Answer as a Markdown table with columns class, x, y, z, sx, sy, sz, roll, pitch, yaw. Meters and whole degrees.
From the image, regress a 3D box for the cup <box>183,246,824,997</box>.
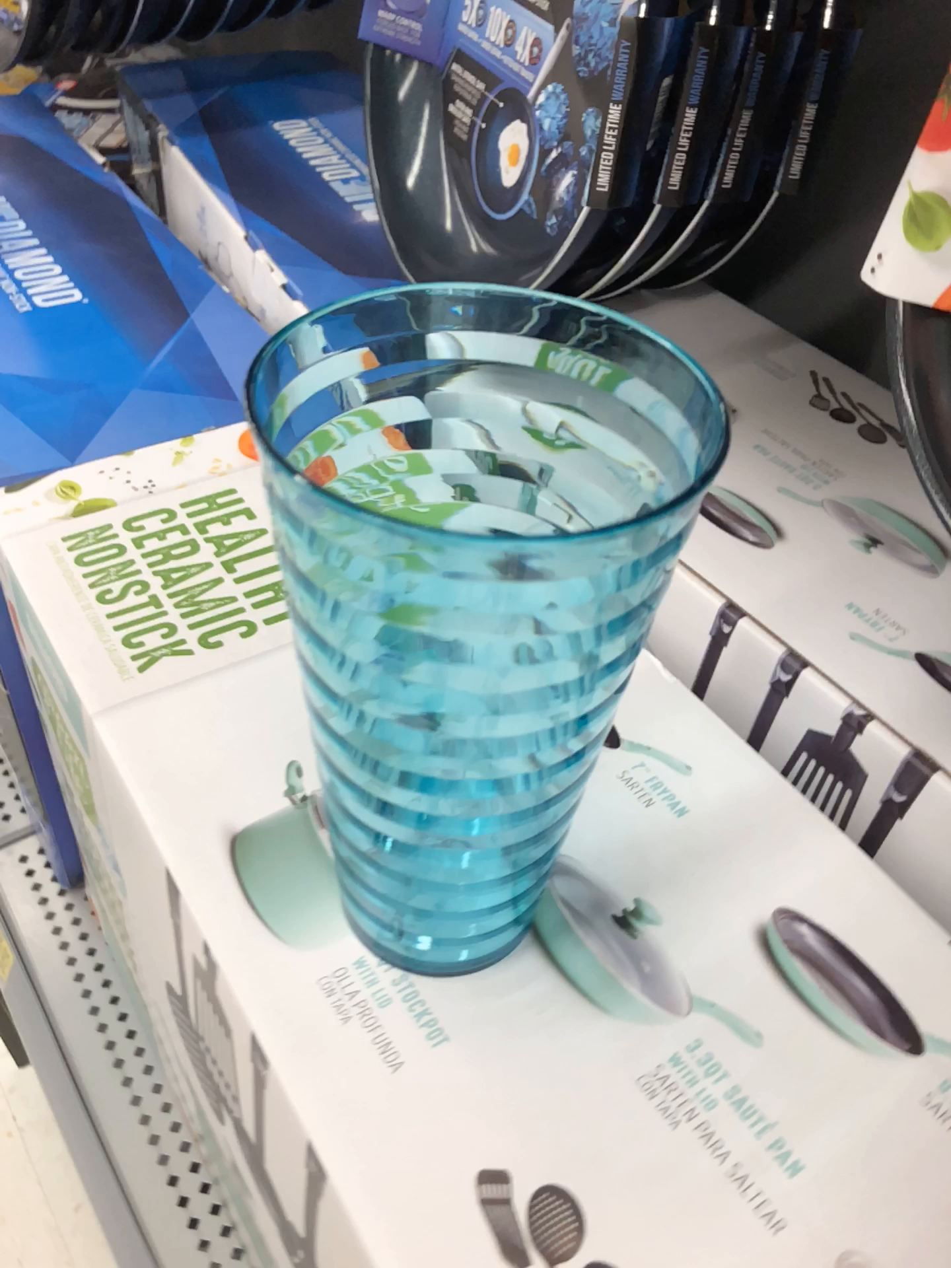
| class | x | y | z | sx | sy | sz | roll | pitch | yaw |
| --- | --- | --- | --- | --- | --- | --- | --- | --- | --- |
| cup | 0.000 | 0.003 | 0.259 | 0.103 | 0.151 | 0.105 | 2 | 44 | -2 |
